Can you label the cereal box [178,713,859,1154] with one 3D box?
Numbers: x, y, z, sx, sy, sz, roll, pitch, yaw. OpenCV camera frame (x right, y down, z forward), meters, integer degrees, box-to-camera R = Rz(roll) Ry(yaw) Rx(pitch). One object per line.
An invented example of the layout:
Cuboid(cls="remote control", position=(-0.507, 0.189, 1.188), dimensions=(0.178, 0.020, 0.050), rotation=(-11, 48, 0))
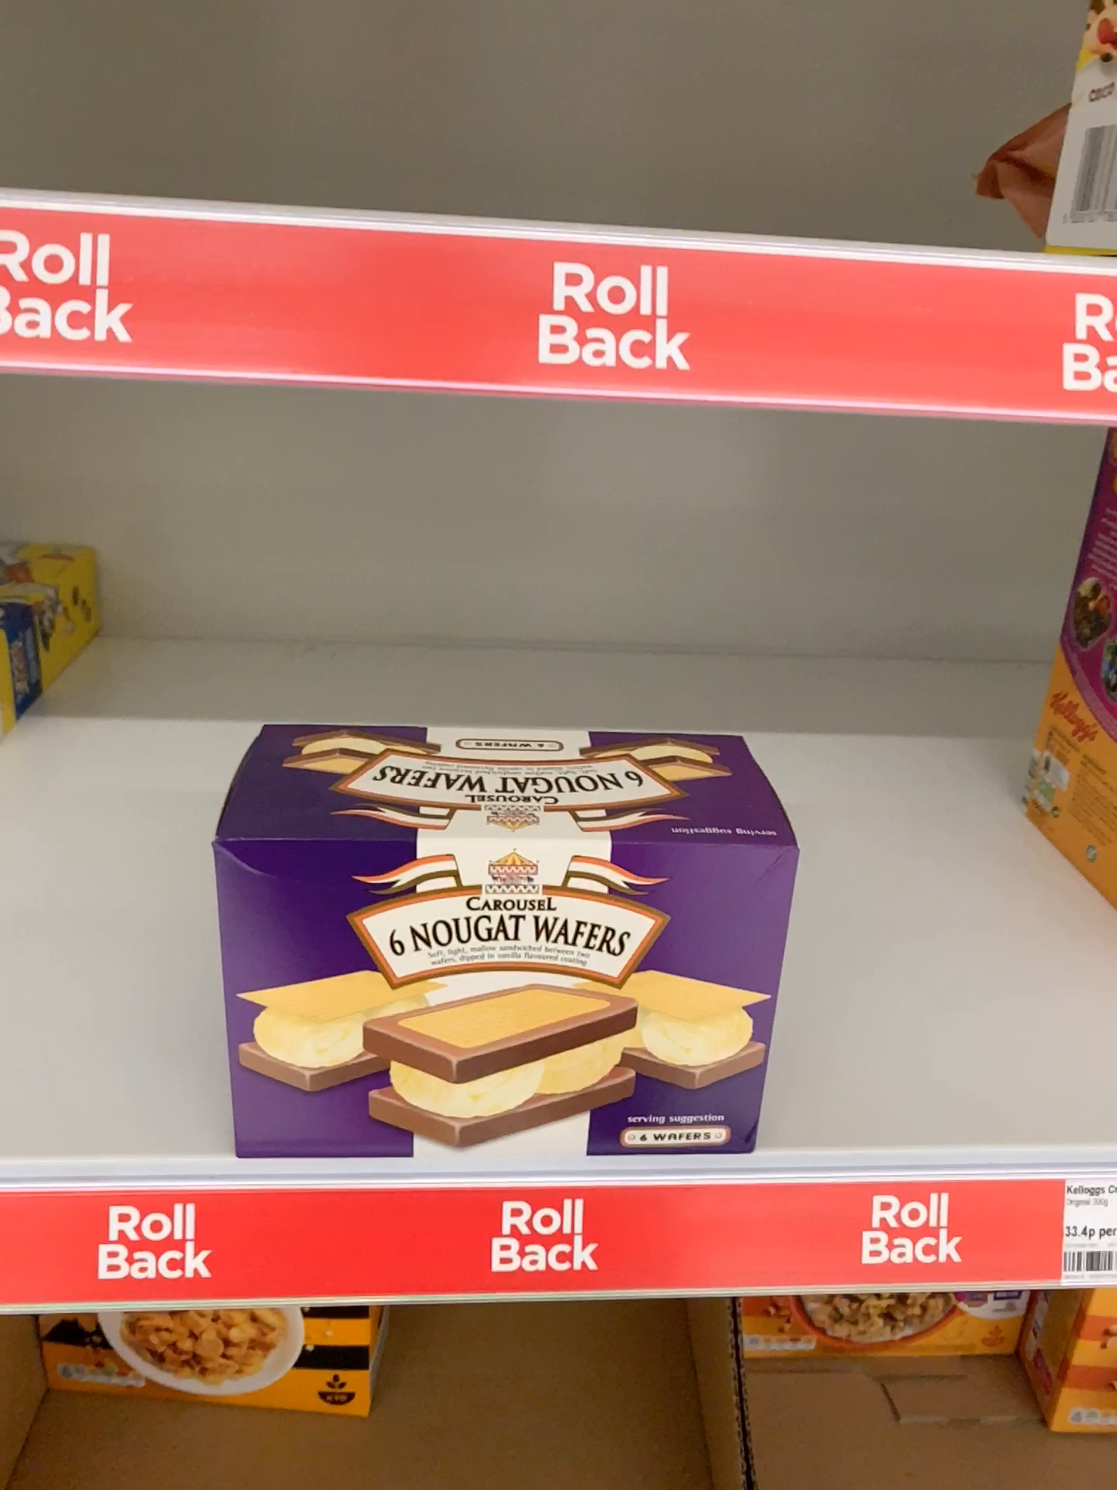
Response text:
Cuboid(cls="cereal box", position=(-0.015, 0.060, 0.384), dimensions=(0.190, 0.109, 0.091), rotation=(1, 24, -5))
